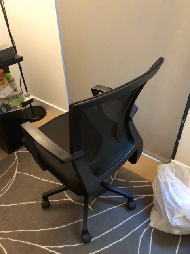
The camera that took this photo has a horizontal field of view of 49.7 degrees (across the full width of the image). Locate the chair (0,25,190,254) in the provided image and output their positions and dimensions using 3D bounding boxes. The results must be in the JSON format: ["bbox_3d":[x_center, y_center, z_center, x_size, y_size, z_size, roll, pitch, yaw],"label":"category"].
[{"bbox_3d":[-0.030,0.048,1.276,0.834,0.992,0.792,-32,47,-32],"label":"chair"}]
